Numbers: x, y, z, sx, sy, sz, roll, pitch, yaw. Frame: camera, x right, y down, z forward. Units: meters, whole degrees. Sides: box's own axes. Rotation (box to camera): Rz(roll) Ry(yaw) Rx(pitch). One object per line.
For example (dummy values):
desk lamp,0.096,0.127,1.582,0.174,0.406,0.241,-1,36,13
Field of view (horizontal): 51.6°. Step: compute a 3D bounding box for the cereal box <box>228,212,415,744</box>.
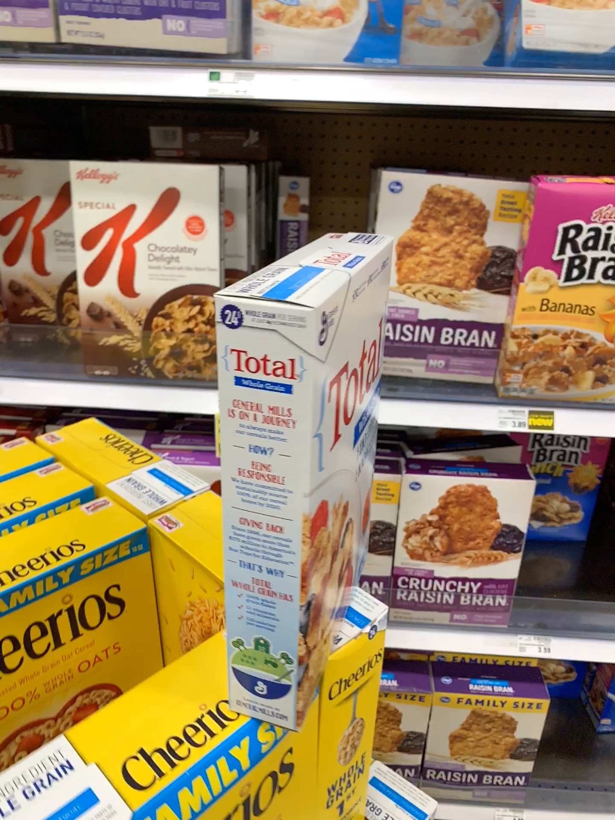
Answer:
cereal box,0.015,0.033,0.443,0.050,0.298,0.211,10,27,16
